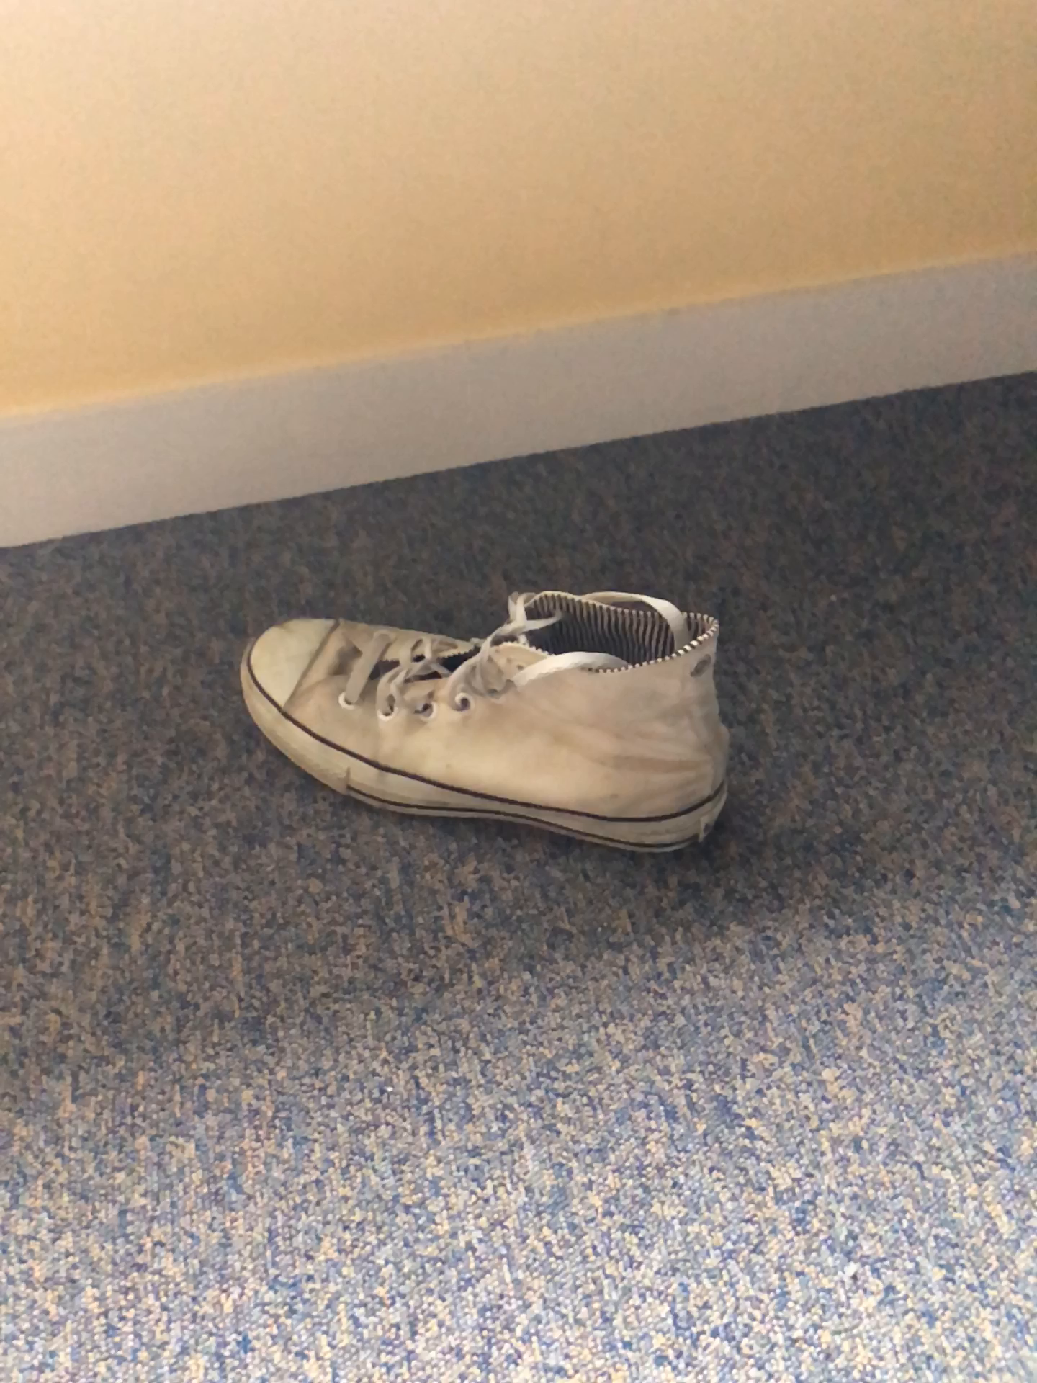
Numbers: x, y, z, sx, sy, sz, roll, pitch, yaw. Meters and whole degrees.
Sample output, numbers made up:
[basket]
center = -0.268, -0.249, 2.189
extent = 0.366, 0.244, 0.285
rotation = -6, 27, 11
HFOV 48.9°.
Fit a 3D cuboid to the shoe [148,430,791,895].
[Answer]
[shoe]
center = -0.017, -0.014, 0.531
extent = 0.250, 0.139, 0.101
rotation = 13, 53, 12
